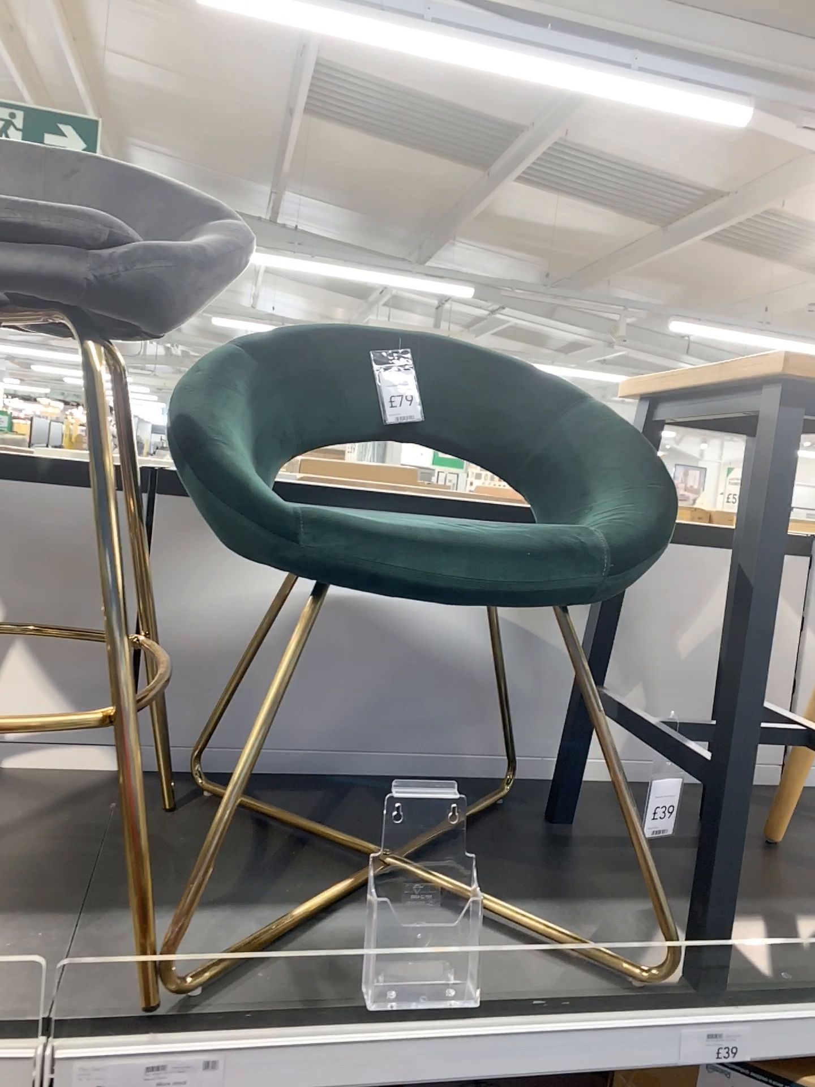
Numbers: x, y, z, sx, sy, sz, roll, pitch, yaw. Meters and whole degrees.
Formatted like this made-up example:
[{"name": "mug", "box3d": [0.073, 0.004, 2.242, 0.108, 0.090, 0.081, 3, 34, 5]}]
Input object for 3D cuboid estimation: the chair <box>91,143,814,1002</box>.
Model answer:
[{"name": "chair", "box3d": [0.017, 0.029, 1.065, 0.634, 0.700, 0.670, 6, 4, -12]}]
